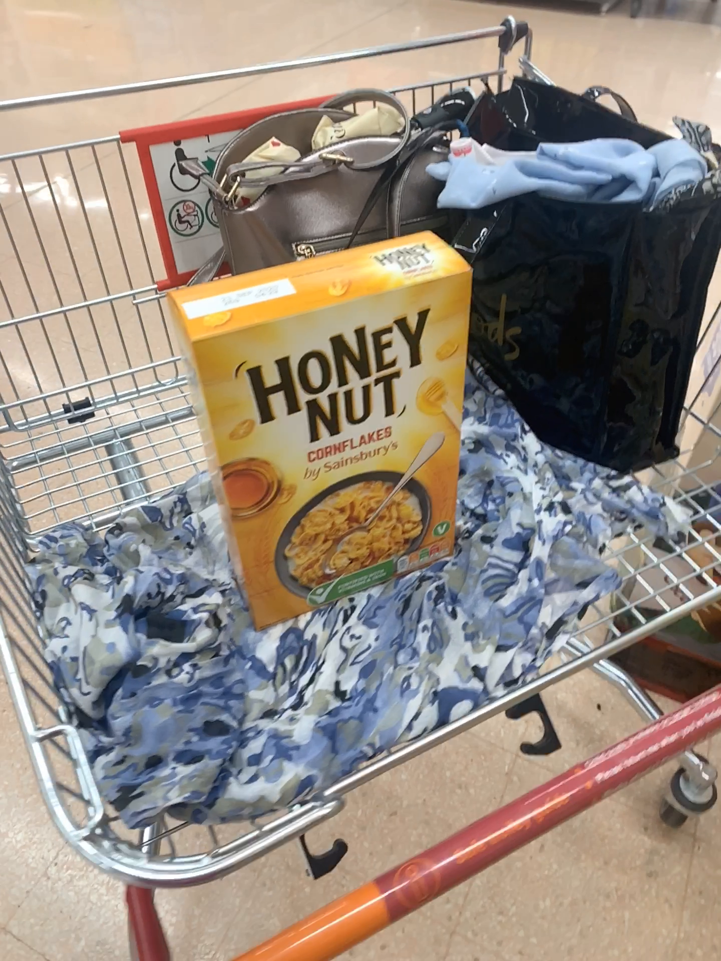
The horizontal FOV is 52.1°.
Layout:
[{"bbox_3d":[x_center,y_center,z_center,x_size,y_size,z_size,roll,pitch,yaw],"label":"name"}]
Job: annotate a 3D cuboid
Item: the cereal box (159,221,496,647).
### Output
[{"bbox_3d":[-0.016,-0.026,0.588,0.210,0.297,0.081,-18,44,-17],"label":"cereal box"}]
